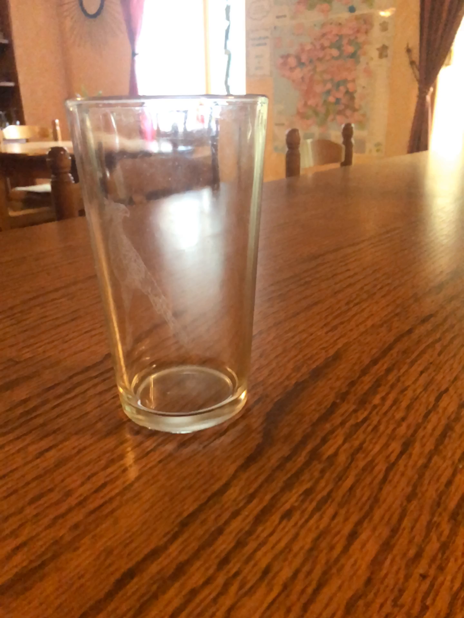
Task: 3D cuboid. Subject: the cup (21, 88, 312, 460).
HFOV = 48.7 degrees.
[{"bbox_3d":[-0.024,-0.026,0.250,0.089,0.144,0.092,-1,20,0],"label":"cup"}]
